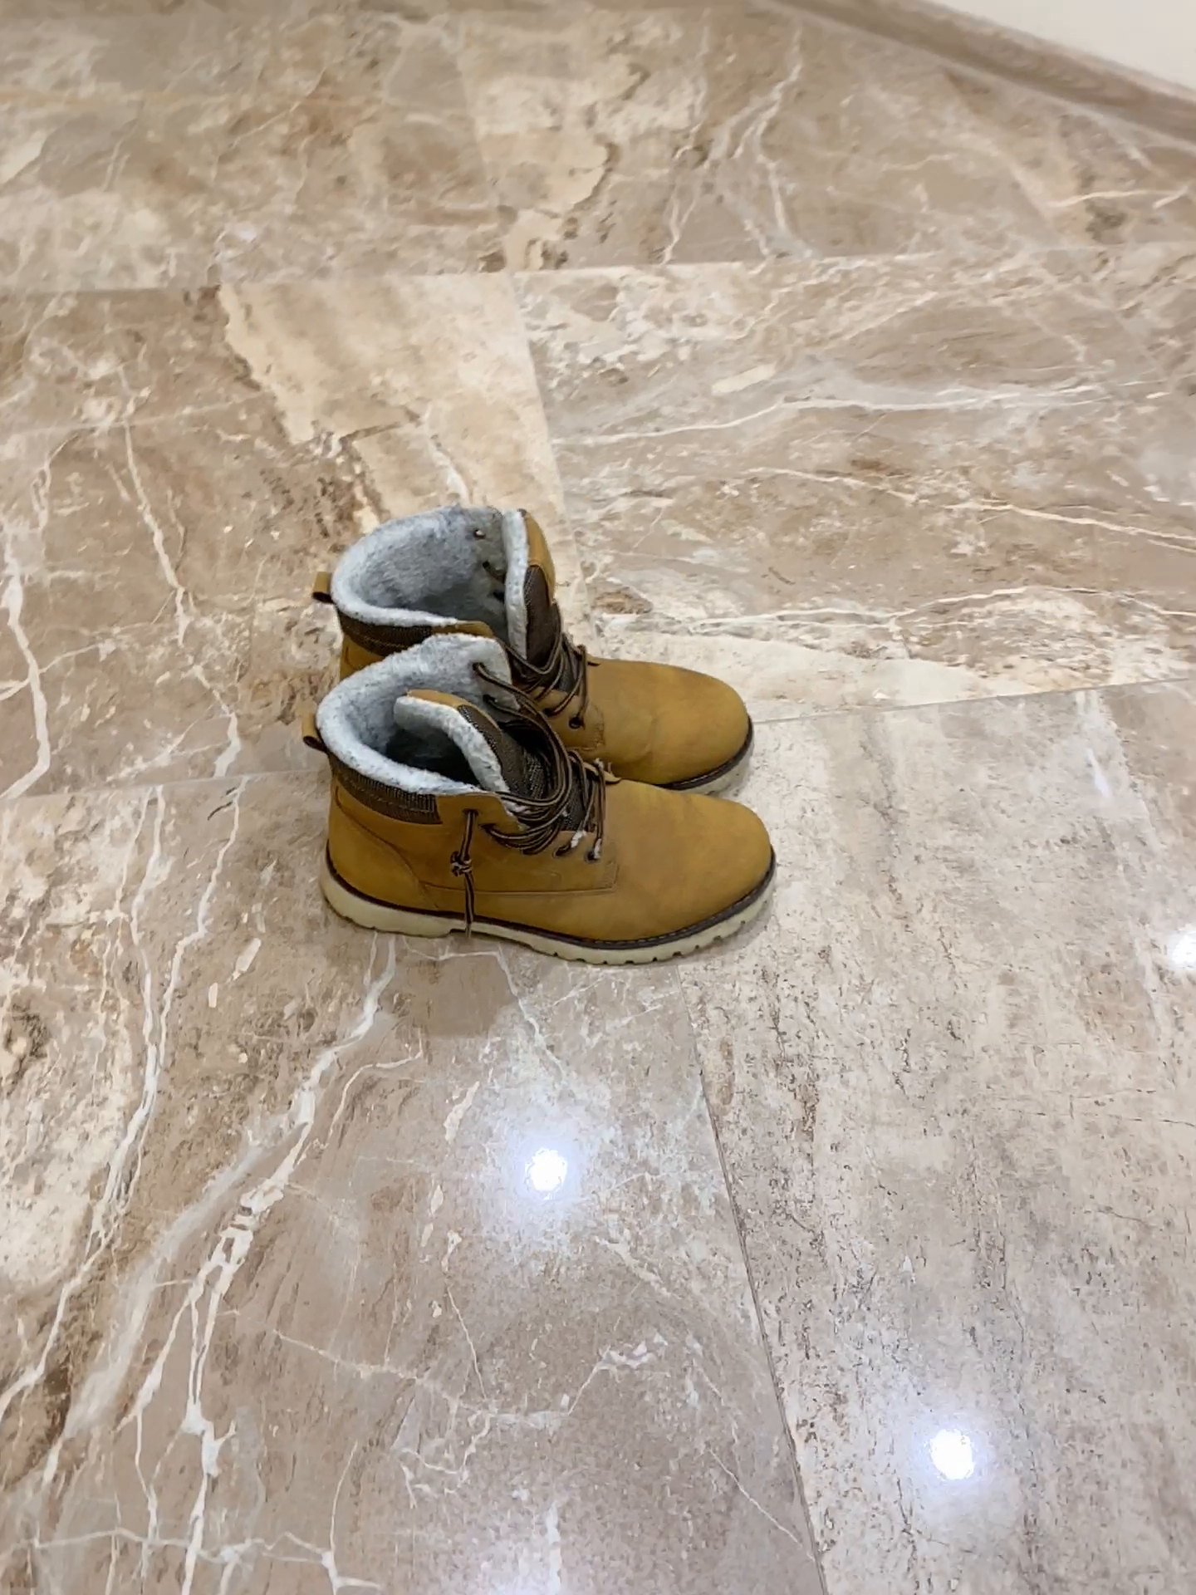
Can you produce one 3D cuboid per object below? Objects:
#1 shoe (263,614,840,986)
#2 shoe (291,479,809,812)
[{"bbox_3d":[-0.024,0.006,0.695,0.280,0.159,0.120,4,53,-1],"label":"shoe"},{"bbox_3d":[-0.027,-0.090,0.754,0.280,0.139,0.120,4,53,-1],"label":"shoe"}]
